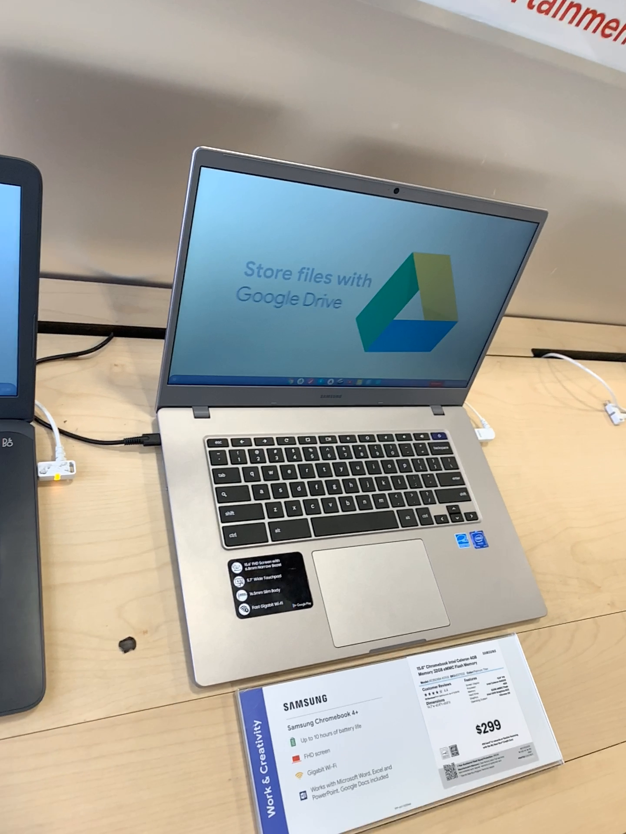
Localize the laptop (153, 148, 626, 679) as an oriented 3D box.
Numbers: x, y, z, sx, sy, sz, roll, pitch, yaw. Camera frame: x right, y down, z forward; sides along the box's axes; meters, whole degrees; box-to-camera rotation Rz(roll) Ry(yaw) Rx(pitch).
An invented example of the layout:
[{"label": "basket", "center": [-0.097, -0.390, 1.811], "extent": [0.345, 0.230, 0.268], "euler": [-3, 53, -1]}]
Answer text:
[{"label": "laptop", "center": [0.072, -0.004, 0.544], "extent": [0.341, 0.200, 0.325], "euler": [-1, 60, -26]}]

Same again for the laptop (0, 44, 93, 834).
[{"label": "laptop", "center": [-0.304, 0.015, 0.343], "extent": [0.301, 0.191, 0.287], "euler": [-2, 59, -27]}]
